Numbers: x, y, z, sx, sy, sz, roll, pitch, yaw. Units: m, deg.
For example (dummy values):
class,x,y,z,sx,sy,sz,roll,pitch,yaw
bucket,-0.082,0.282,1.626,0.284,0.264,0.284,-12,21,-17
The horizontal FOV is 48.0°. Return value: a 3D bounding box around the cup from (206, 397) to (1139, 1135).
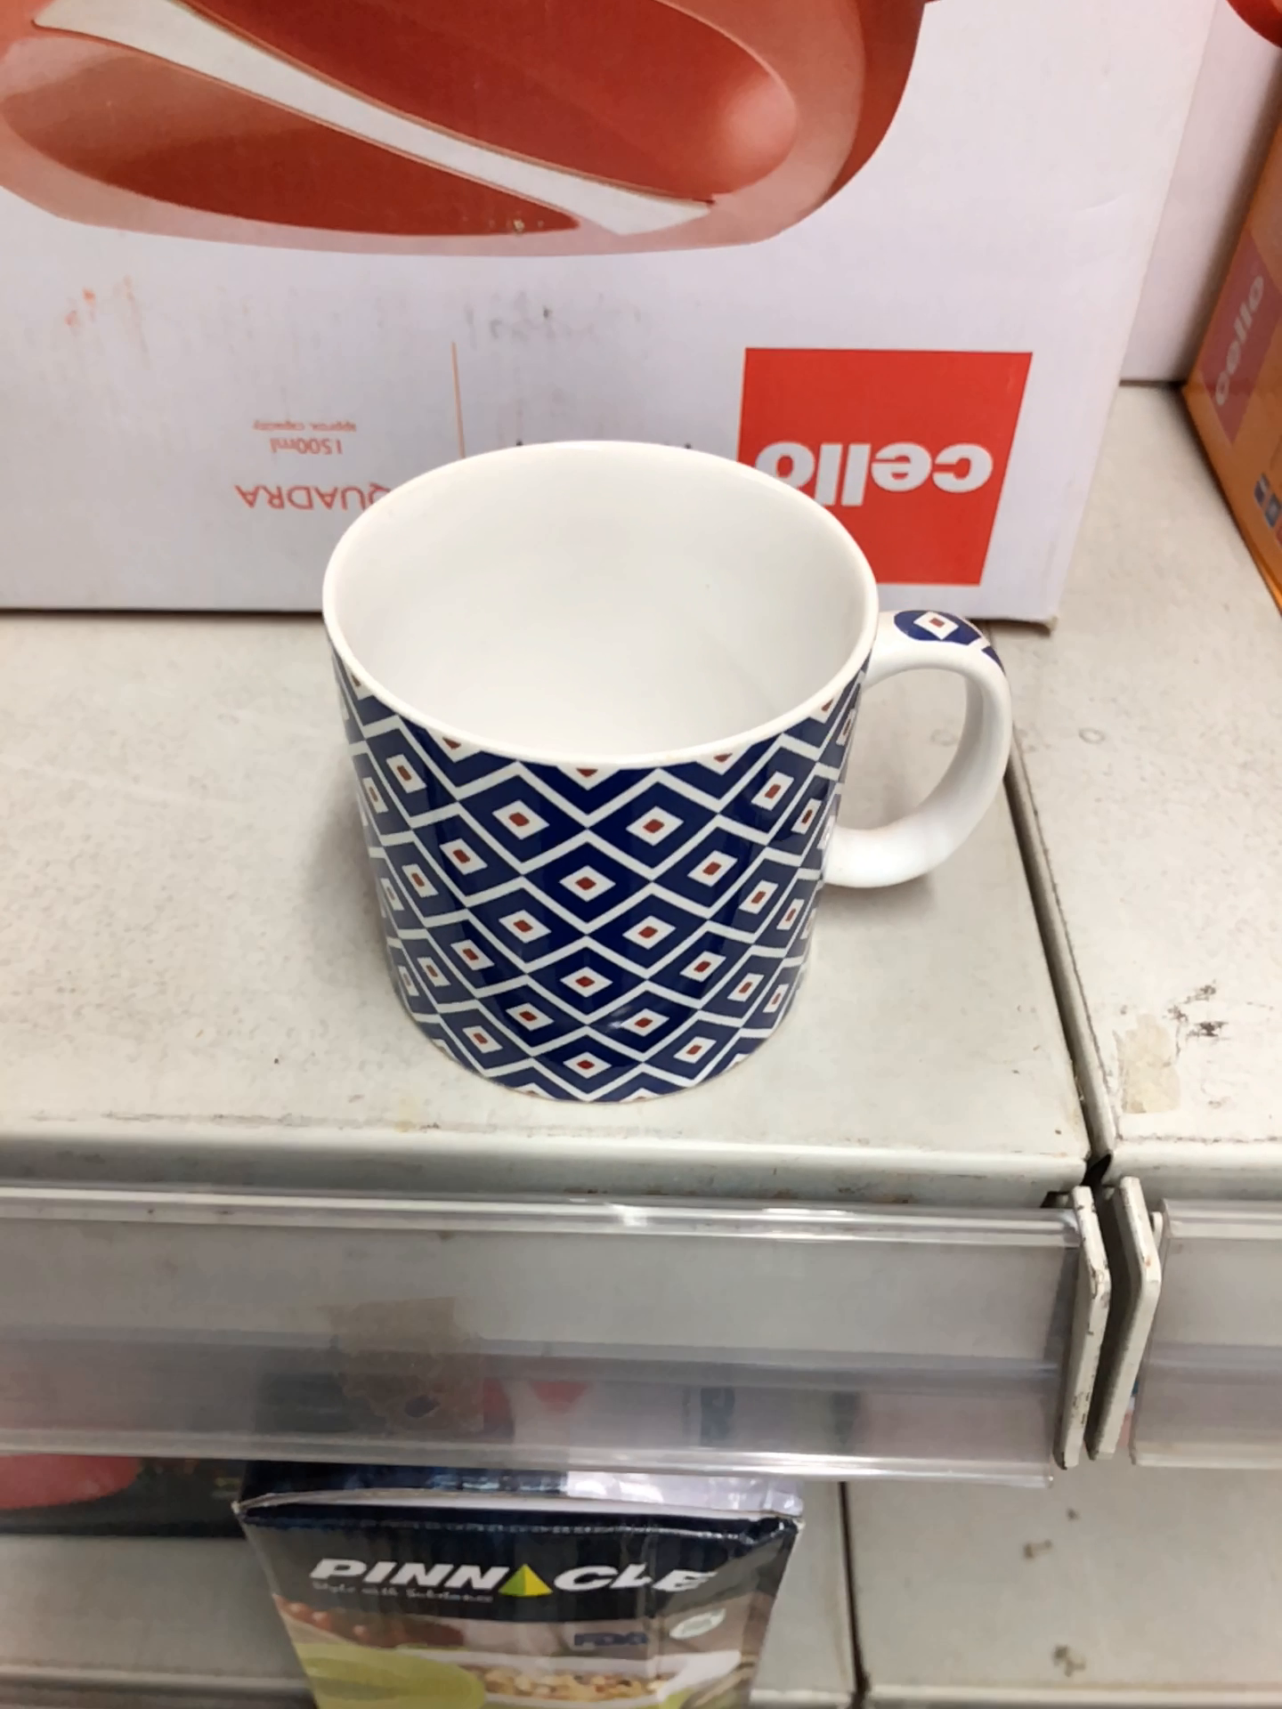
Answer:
class,x,y,z,sx,sy,sz,roll,pitch,yaw
cup,0.003,-0.014,0.226,0.110,0.079,0.081,1,45,-1
